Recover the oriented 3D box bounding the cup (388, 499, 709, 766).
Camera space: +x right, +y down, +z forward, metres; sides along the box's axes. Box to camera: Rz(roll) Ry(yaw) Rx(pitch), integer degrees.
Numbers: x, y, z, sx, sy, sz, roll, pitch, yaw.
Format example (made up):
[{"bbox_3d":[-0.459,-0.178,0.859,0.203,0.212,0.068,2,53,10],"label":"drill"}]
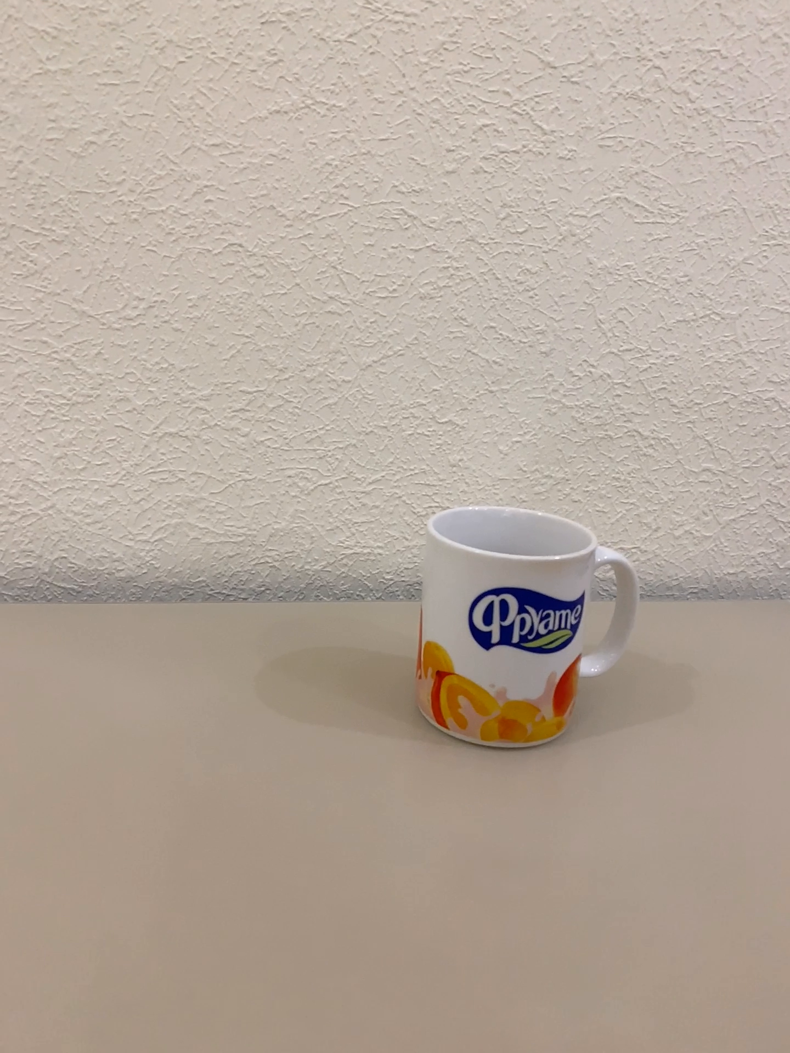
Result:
[{"bbox_3d":[0.068,0.044,0.390,0.116,0.092,0.081,-3,18,-21],"label":"cup"}]
